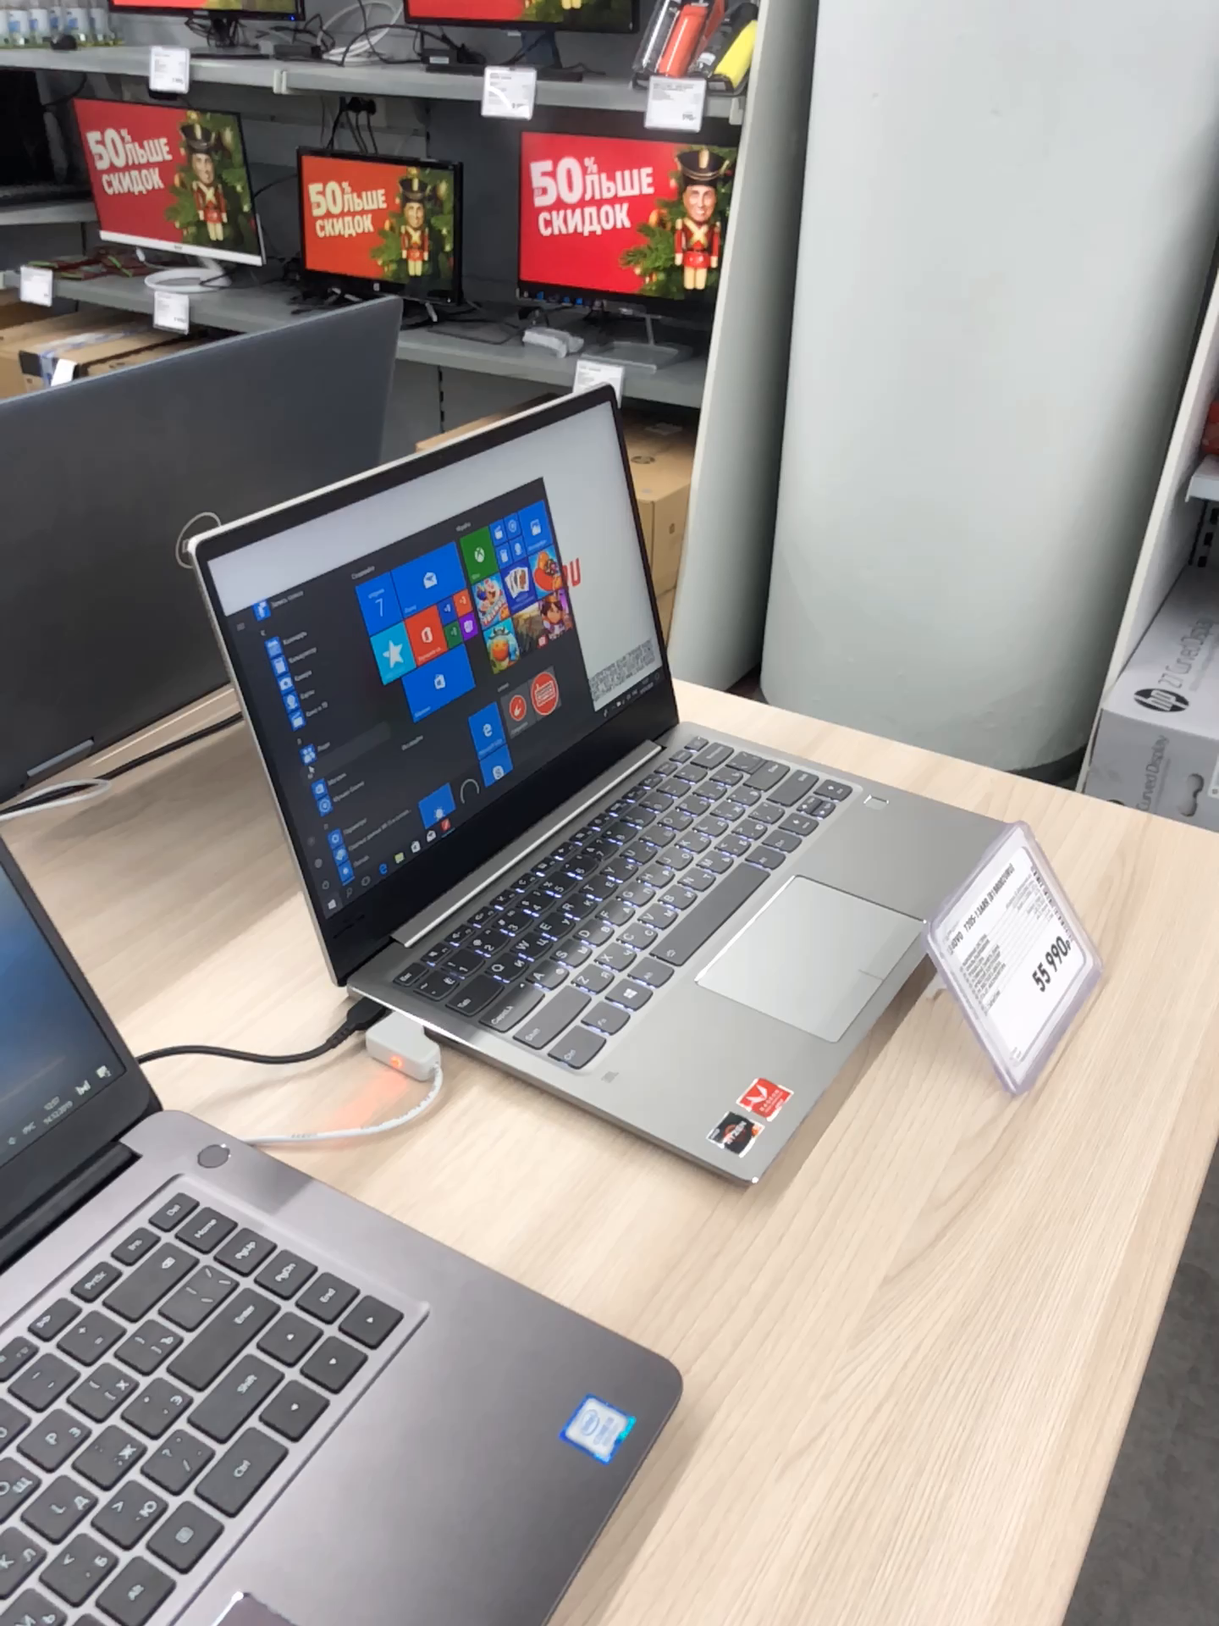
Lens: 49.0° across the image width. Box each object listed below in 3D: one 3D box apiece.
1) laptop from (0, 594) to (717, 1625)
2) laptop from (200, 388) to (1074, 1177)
[{"bbox_3d":[-0.208,0.131,0.313,0.340,0.188,0.346,18,35,24],"label":"laptop"},{"bbox_3d":[0.025,-0.048,0.614,0.262,0.187,0.286,20,36,26],"label":"laptop"}]
